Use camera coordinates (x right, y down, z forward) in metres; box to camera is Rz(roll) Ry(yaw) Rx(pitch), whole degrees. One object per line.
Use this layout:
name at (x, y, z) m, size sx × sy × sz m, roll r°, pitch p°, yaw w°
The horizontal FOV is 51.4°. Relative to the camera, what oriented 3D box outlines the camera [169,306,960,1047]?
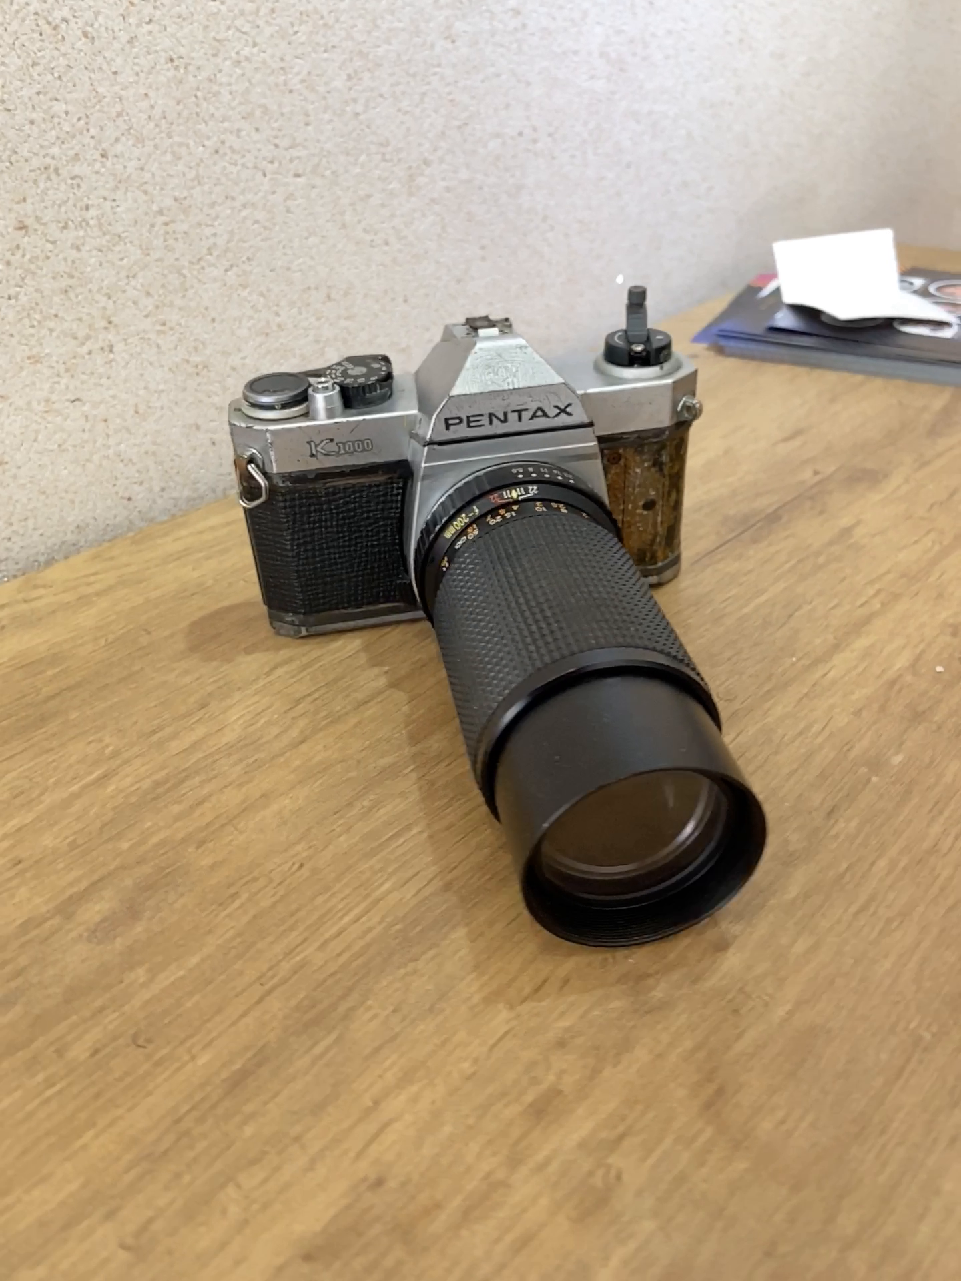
camera at (0.009, -0.014, 0.259) m, size 0.150 × 0.079 × 0.181 m, roll -10°, pitch 34°, yaw -8°
